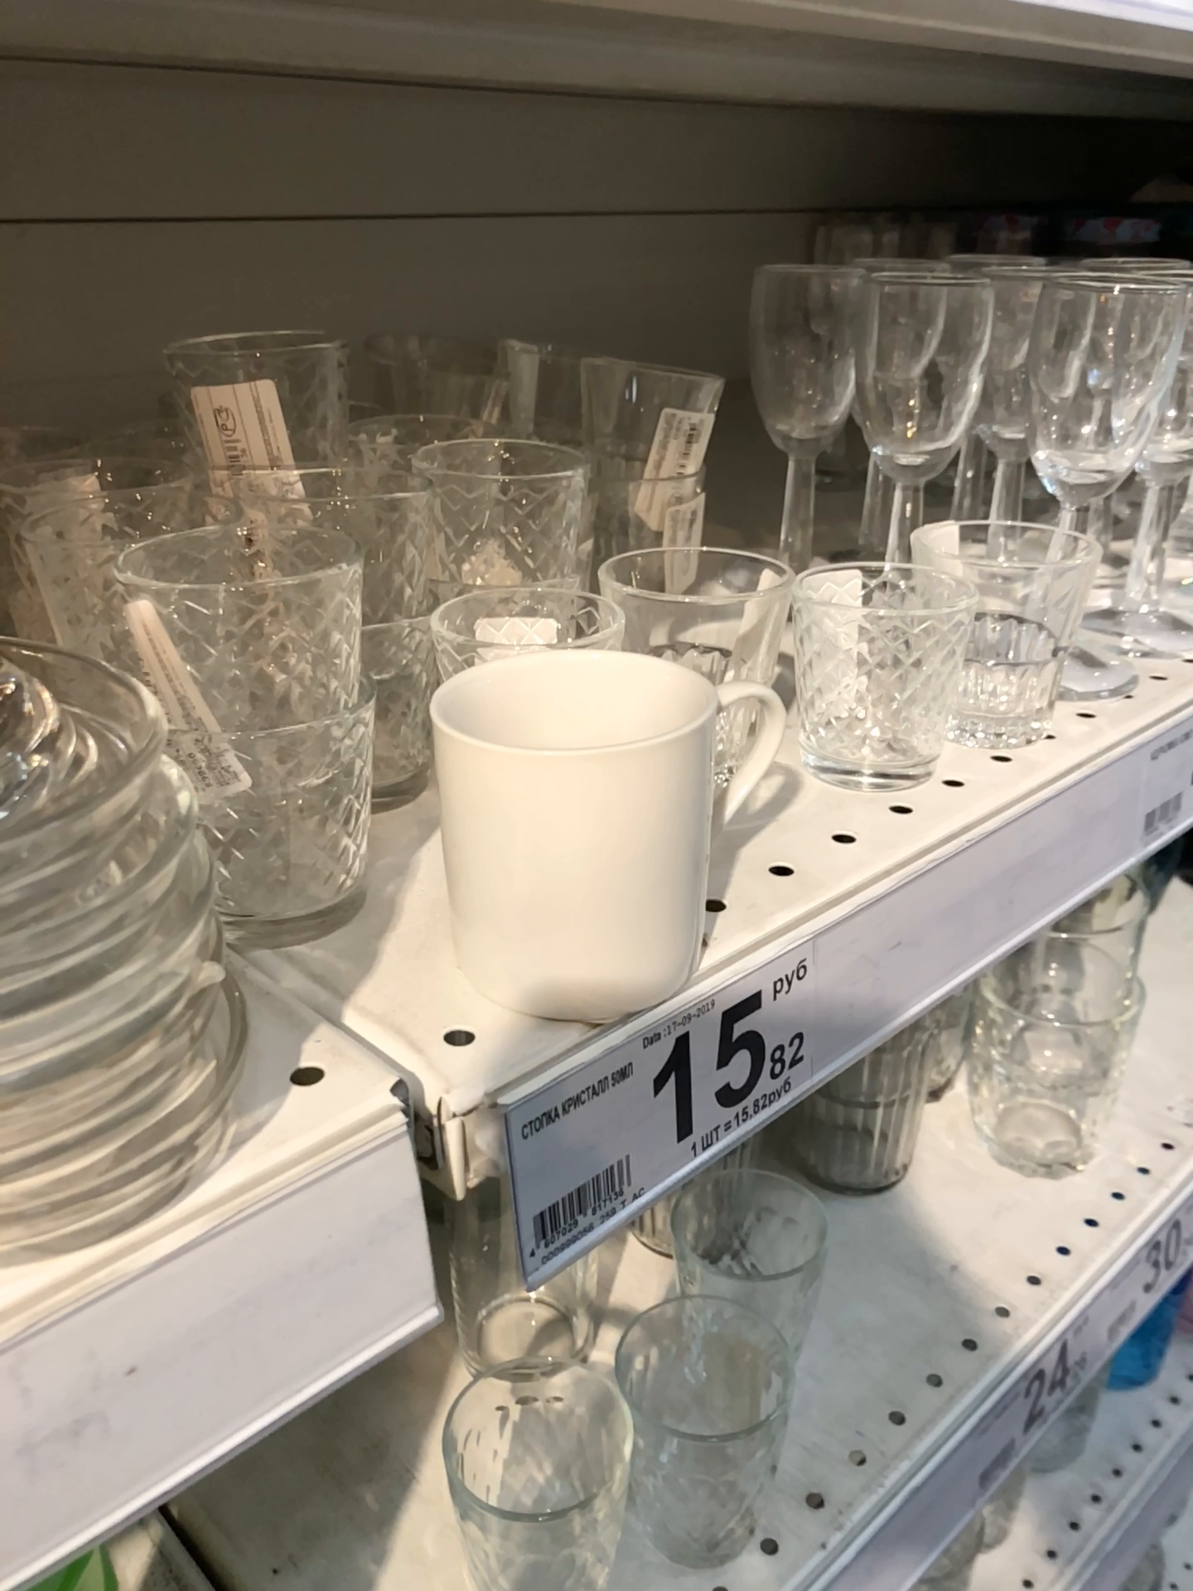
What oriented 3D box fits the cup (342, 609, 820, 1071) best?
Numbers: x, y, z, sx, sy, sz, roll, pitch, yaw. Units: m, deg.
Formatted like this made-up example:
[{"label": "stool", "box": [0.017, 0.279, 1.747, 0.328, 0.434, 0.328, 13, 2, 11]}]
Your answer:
[{"label": "cup", "box": [-0.003, 0.004, 0.271, 0.074, 0.060, 0.057, -18, 31, -35]}]
